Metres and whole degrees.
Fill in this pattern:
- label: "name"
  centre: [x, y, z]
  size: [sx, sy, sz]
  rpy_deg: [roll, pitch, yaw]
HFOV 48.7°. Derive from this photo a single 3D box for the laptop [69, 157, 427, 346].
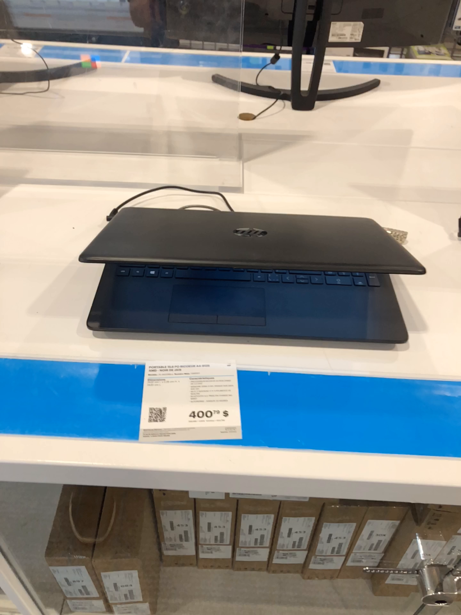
- label: "laptop"
  centre: [0.024, -0.078, 0.634]
  size: [0.365, 0.091, 0.235]
  rpy_deg: [3, 43, -4]
